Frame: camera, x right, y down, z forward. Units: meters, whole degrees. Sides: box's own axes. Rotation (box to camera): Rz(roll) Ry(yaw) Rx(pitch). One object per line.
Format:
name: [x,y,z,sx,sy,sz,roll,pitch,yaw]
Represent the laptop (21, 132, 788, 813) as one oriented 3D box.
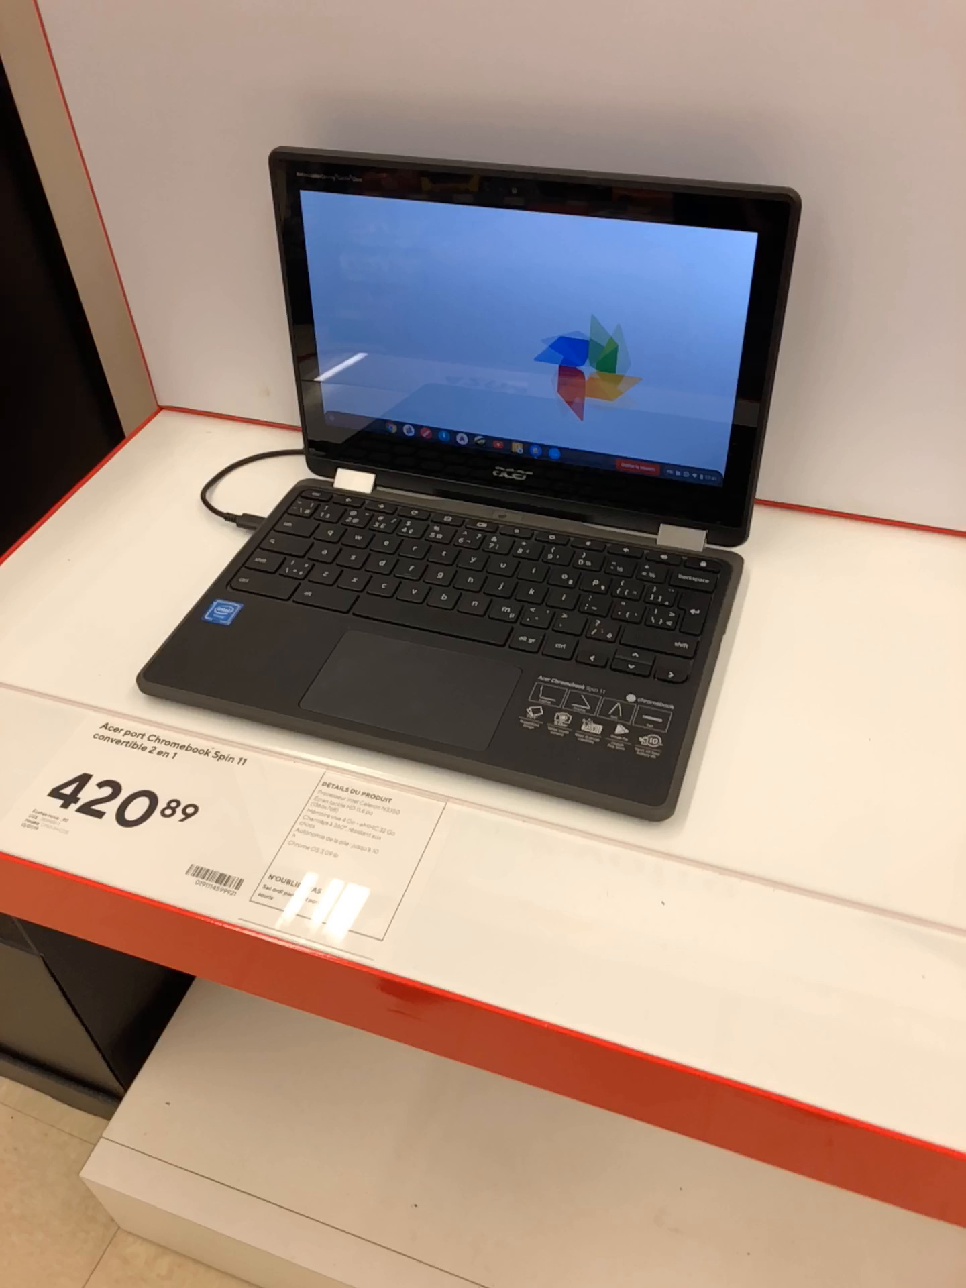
laptop: [-0.017,-0.108,0.563,0.289,0.198,0.253,11,48,16]
